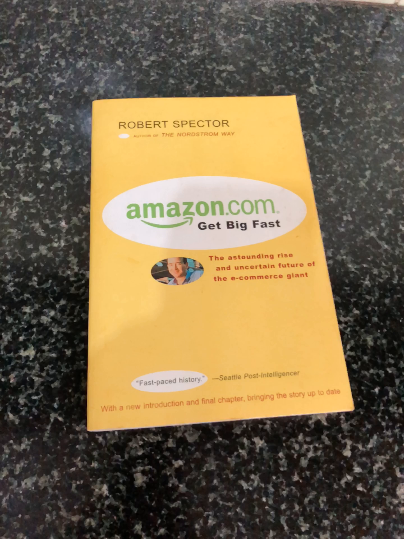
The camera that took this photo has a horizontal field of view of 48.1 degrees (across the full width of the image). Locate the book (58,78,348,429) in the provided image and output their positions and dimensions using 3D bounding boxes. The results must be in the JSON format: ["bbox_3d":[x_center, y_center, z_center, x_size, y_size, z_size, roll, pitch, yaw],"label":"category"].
[{"bbox_3d":[-0.006,-0.022,0.271,0.140,0.030,0.210,-2,68,-5],"label":"book"}]
